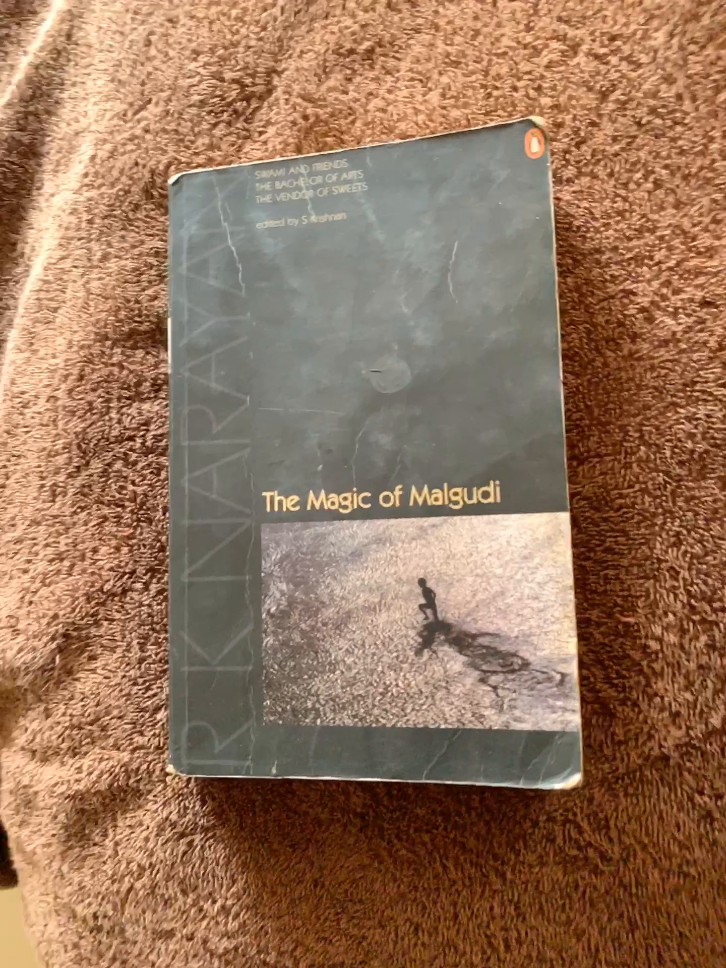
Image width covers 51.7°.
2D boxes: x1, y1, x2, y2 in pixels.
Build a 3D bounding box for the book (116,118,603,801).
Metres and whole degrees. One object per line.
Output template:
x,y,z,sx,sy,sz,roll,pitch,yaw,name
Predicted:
-0.005,-0.007,0.239,0.142,0.030,0.193,-3,84,11,book
